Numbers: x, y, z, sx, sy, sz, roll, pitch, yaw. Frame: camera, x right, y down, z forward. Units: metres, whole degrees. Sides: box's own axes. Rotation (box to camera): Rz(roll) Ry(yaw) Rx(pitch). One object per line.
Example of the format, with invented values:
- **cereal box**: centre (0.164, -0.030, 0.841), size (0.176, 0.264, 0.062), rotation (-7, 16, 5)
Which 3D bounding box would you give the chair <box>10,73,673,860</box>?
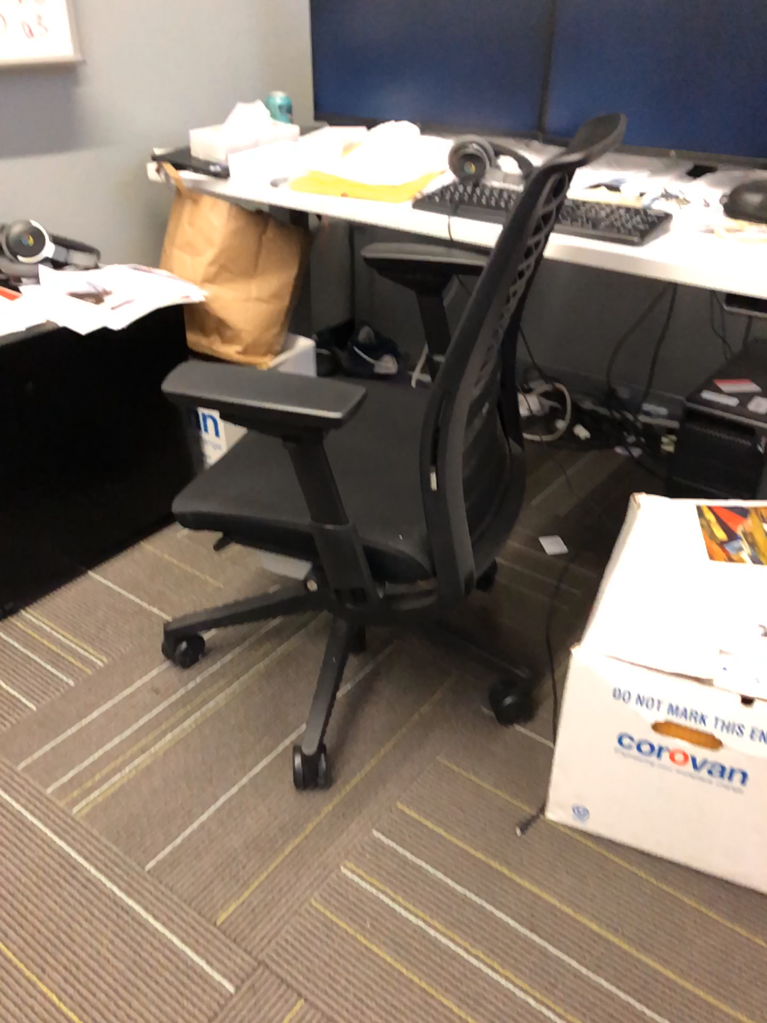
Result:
- **chair**: centre (0.024, -0.148, 1.430), size (0.700, 0.994, 0.784), rotation (10, 33, 15)
